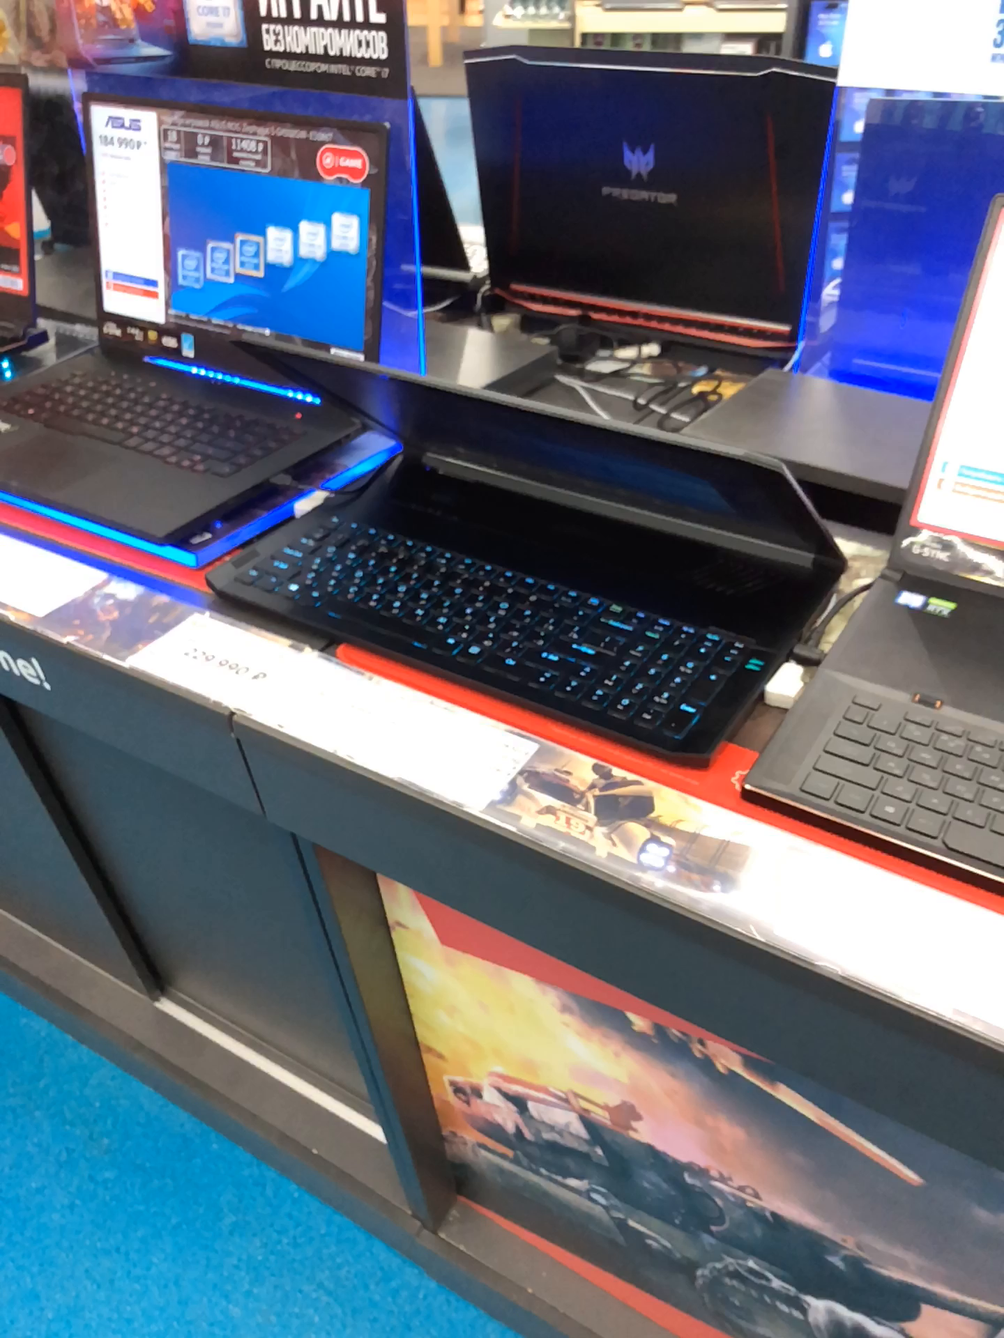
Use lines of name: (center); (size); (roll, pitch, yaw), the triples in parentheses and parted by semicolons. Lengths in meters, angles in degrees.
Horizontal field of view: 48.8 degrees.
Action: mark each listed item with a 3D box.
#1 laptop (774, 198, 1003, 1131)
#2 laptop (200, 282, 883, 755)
laptop: (0.397, -0.064, 0.576); (0.372, 0.235, 0.364); (19, 39, 26)
laptop: (0.023, -0.126, 0.745); (0.370, 0.152, 0.227); (19, 40, 26)
